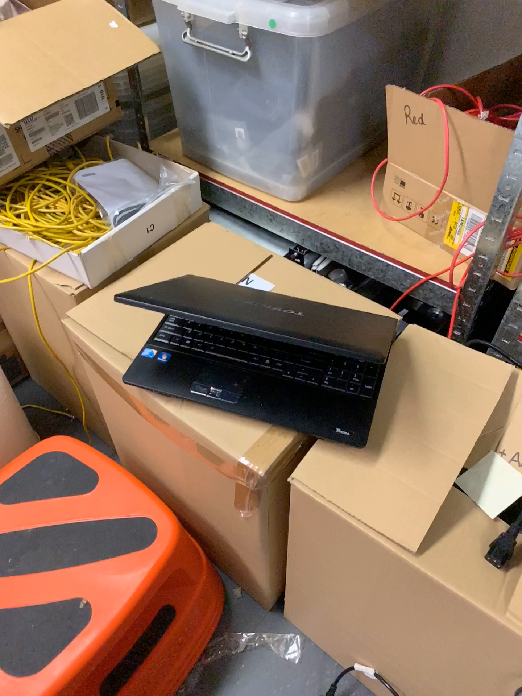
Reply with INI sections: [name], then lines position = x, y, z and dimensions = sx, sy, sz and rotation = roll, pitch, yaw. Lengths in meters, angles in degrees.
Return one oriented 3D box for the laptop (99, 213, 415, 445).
[laptop]
position = 0.005, -0.039, 0.762
dimensions = 0.354, 0.135, 0.232
rotation = 14, 51, 12
